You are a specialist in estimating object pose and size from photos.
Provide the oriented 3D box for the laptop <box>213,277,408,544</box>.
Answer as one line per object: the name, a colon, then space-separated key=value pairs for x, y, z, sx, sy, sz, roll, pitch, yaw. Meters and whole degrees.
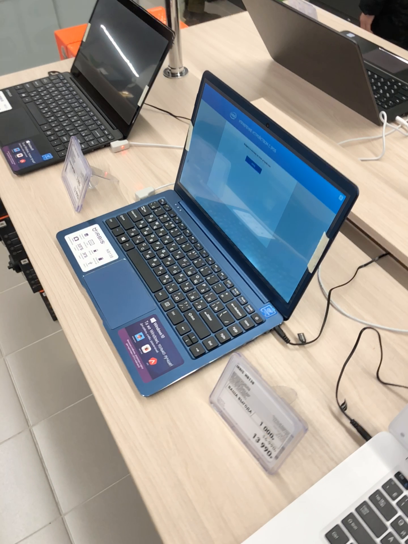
laptop: x=0.214 y=0.231 z=0.296 sx=0.289 sy=0.218 sz=0.311 roll=-27 pitch=53 yaw=-19

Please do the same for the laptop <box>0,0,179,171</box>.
laptop: x=-0.269 y=-0.403 z=0.889 sx=0.327 sy=0.155 sz=0.301 roll=-26 pitch=55 yaw=-19

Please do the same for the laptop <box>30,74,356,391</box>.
laptop: x=-0.027 y=-0.075 z=0.598 sx=0.270 sy=0.185 sz=0.310 roll=-25 pitch=54 yaw=-18
